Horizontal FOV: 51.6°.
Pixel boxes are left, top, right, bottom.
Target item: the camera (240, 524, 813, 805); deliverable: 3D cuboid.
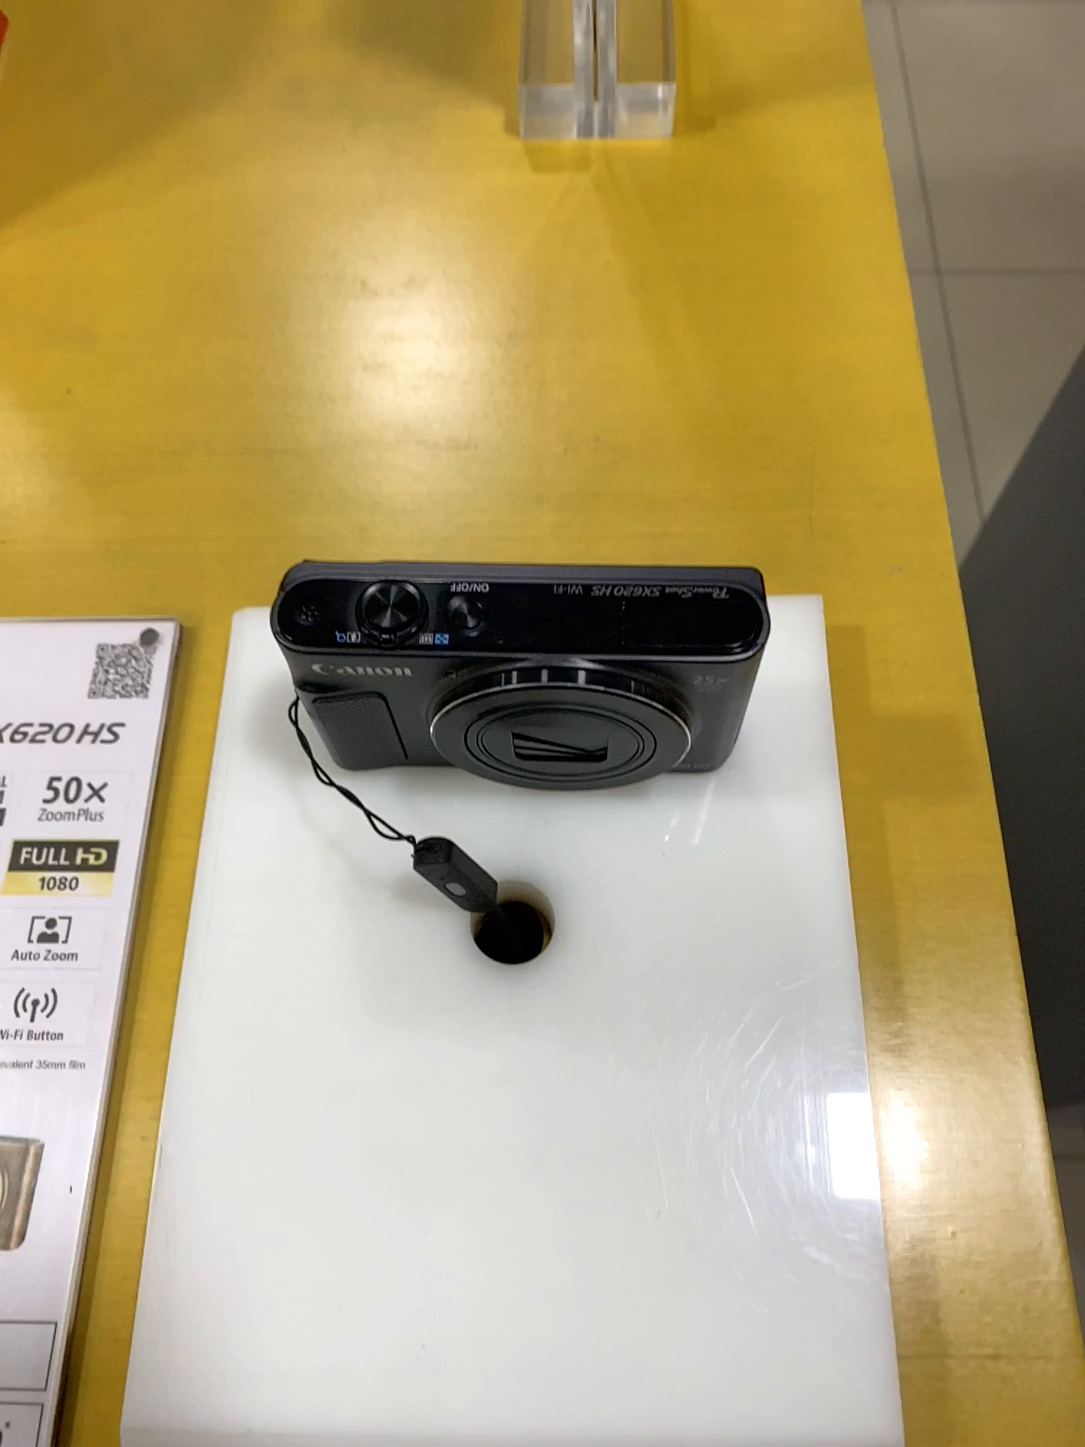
[{"bbox_3d":[-0.002,-0.010,0.229,0.100,0.060,0.030,2,66,2],"label":"camera"}]
